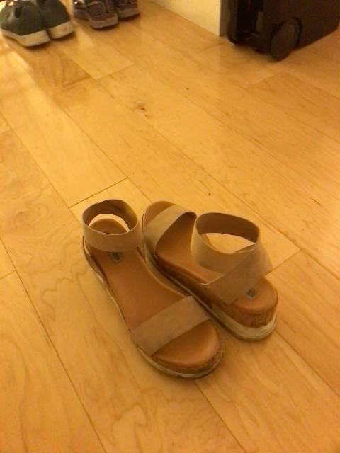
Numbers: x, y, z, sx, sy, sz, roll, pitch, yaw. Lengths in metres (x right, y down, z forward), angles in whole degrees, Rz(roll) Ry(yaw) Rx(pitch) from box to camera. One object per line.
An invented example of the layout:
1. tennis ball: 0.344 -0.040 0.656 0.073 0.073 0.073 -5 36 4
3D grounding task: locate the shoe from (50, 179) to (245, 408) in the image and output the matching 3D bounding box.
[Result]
1. shoe: -0.034 0.077 0.478 0.100 0.139 0.251 -32 54 -20

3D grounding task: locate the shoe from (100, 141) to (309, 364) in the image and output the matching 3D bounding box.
1. shoe: 0.031 0.023 0.520 0.100 0.139 0.291 -32 54 -20
